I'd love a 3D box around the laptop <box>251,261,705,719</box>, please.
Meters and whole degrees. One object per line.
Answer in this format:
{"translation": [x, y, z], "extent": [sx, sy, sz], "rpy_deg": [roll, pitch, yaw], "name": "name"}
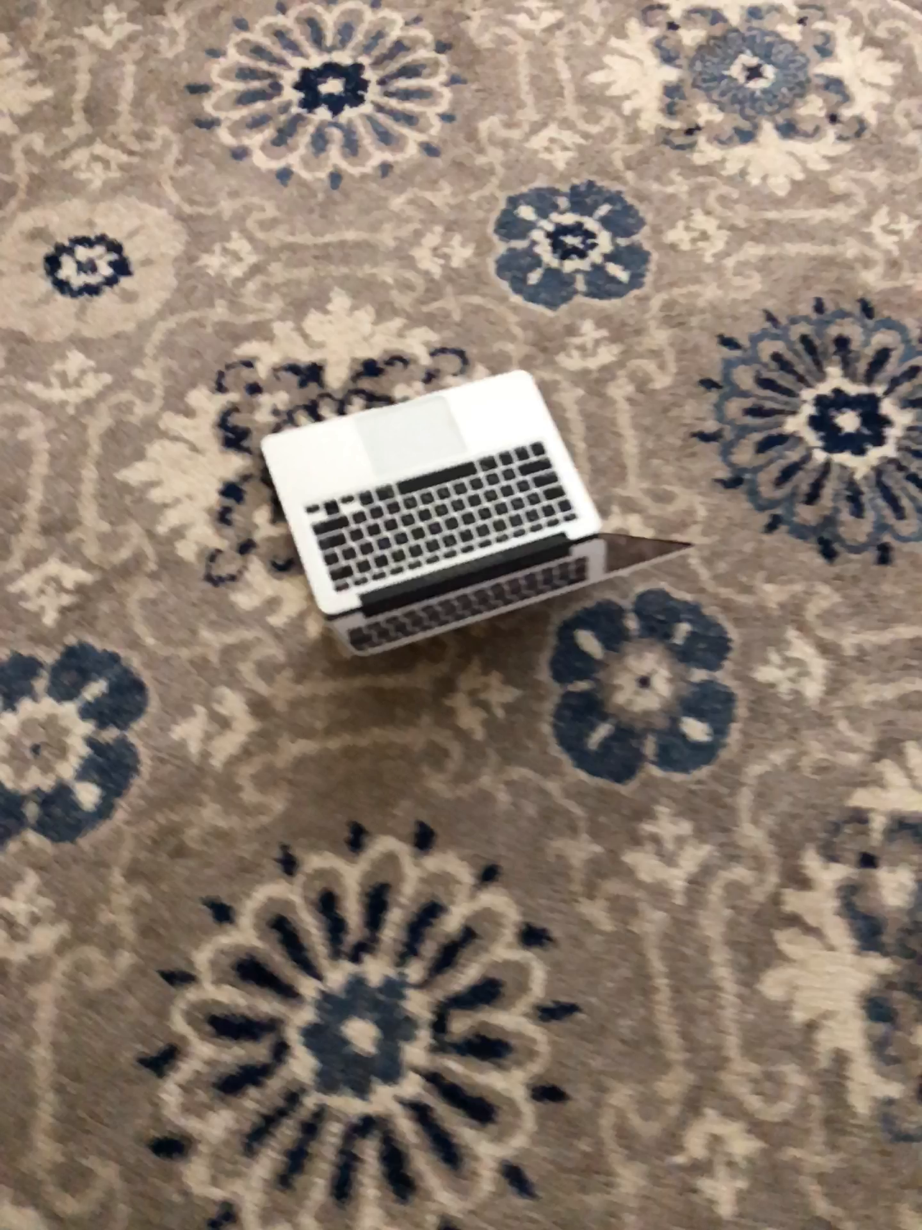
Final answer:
{"translation": [0.003, -0.120, 0.976], "extent": [0.300, 0.171, 0.322], "rpy_deg": [-18, 71, -12], "name": "laptop"}
